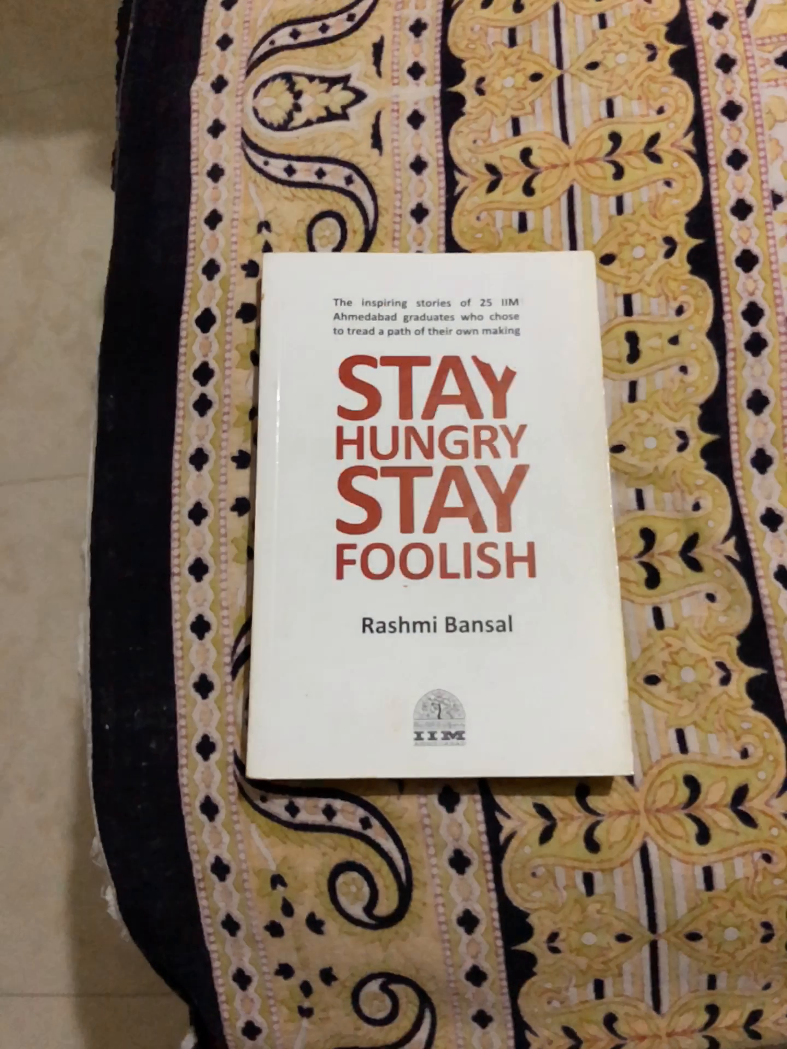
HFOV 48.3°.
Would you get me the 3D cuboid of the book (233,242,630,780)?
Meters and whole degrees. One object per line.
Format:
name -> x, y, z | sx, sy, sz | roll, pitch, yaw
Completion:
book -> 0.014, -0.008, 0.354 | 0.140, 0.040, 0.210 | 0, 77, 2
